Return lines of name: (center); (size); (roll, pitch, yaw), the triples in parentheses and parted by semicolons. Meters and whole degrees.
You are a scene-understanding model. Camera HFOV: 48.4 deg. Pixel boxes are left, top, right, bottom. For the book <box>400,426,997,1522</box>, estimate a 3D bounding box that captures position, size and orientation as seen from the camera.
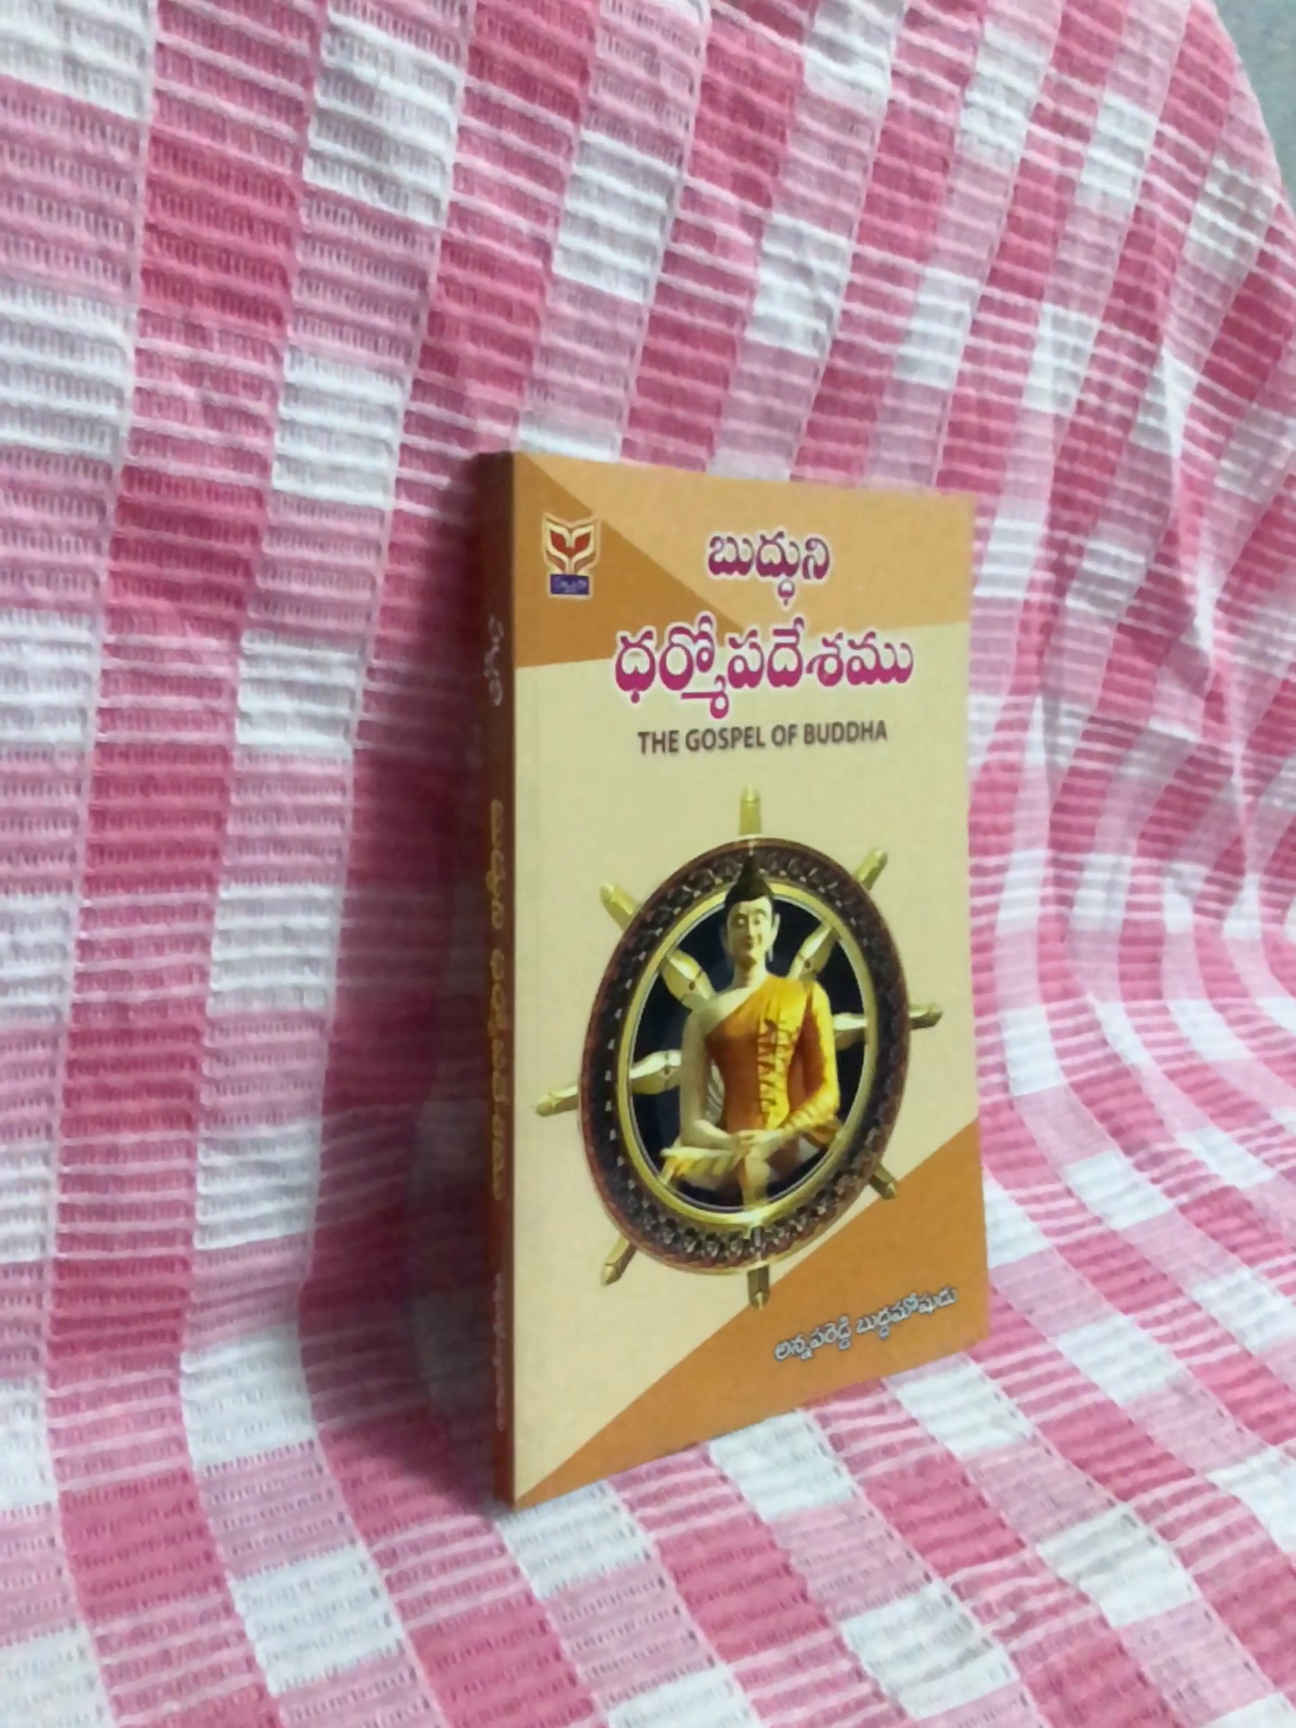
book: (0.019, 0.018, 0.319); (0.141, 0.210, 0.020); (-5, 7, -32)
